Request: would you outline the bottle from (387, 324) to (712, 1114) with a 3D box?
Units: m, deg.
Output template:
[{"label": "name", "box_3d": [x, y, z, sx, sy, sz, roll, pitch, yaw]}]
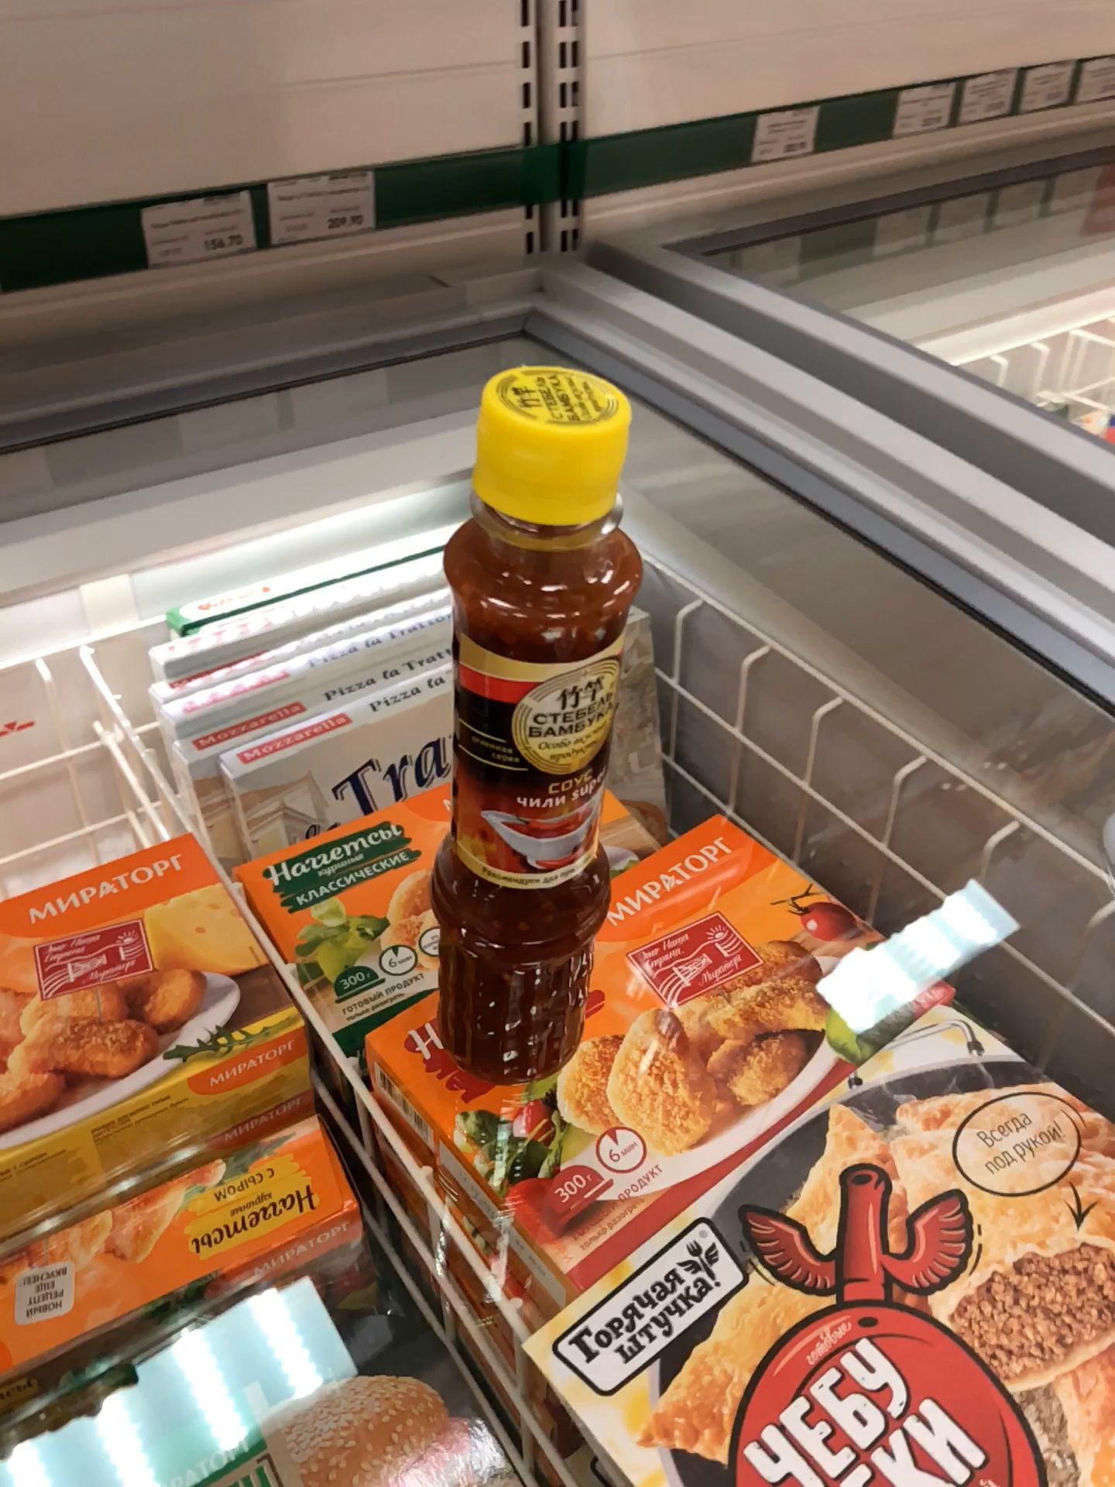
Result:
[{"label": "bottle", "box_3d": [-0.007, 0.008, 0.321, 0.048, 0.212, 0.047, 2, 40, -2]}]
